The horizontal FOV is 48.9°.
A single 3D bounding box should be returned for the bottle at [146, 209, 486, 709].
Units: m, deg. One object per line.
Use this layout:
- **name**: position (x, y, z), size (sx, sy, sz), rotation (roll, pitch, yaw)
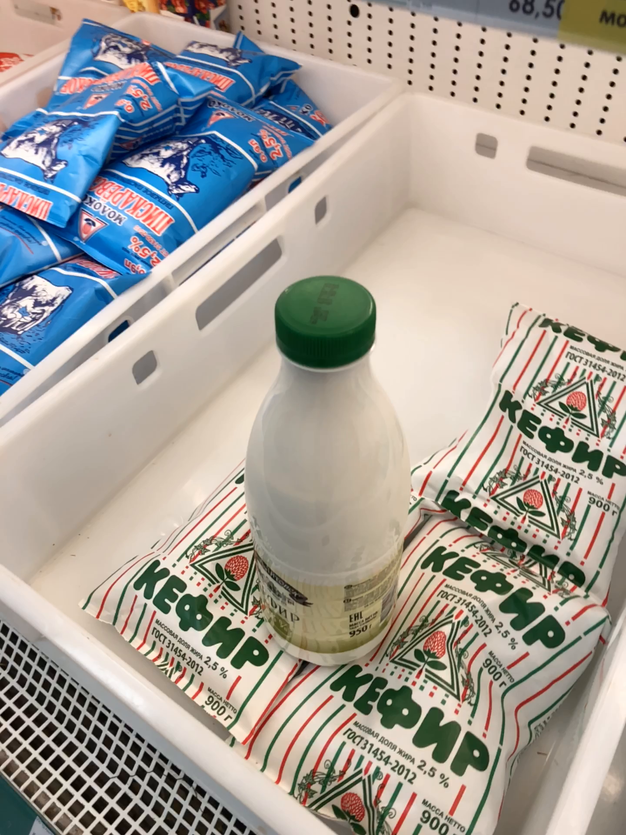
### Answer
- **bottle**: position (0.008, 0.045, 0.360), size (0.090, 0.269, 0.090), rotation (-2, 51, 3)
